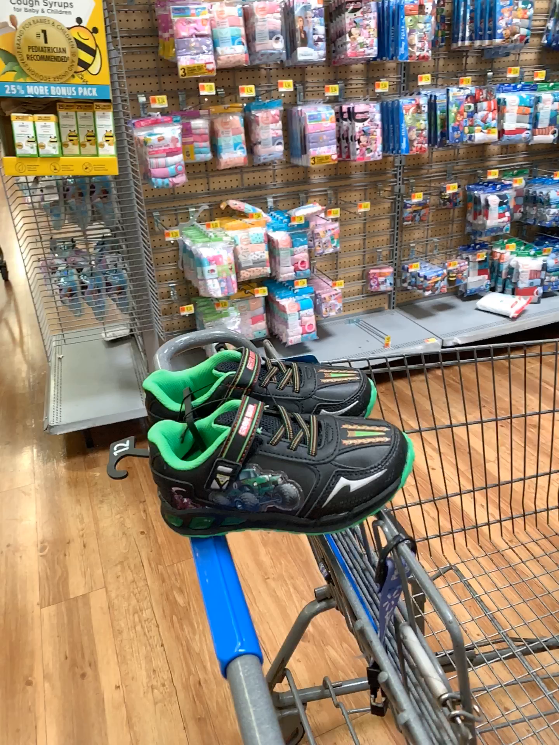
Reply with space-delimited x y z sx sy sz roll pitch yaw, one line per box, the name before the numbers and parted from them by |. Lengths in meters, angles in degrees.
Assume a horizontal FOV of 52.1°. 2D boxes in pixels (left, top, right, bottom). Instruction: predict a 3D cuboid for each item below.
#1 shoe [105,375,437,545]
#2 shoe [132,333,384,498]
shoe | -0.003 0.063 0.425 0.213 0.086 0.090 -1 28 4
shoe | -0.017 0.034 0.503 0.194 0.093 0.096 -4 28 -2
